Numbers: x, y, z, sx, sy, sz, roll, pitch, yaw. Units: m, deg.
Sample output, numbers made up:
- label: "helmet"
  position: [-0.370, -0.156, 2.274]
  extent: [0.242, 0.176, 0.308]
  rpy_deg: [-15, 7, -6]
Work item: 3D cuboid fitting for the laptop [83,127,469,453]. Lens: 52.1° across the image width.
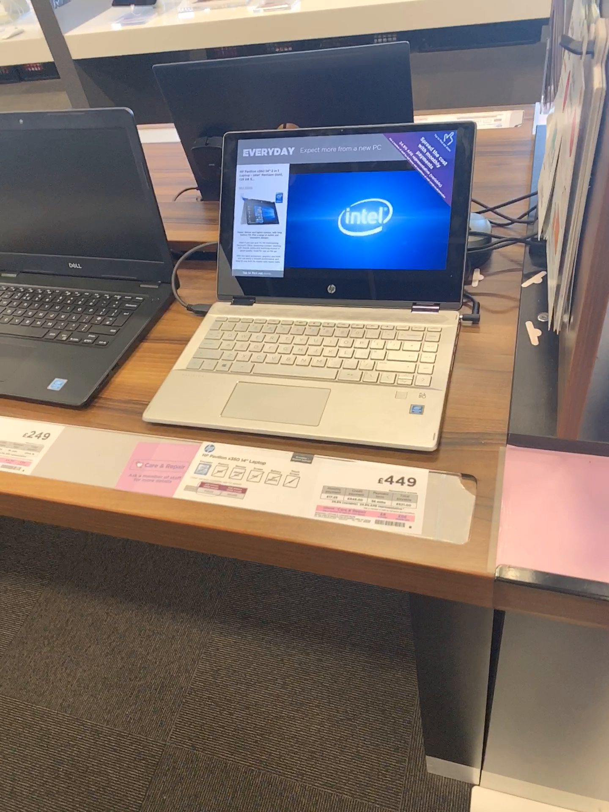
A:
- label: "laptop"
  position: [0.004, -0.152, 0.695]
  extent: [0.313, 0.154, 0.363]
  rpy_deg: [5, 46, 18]
